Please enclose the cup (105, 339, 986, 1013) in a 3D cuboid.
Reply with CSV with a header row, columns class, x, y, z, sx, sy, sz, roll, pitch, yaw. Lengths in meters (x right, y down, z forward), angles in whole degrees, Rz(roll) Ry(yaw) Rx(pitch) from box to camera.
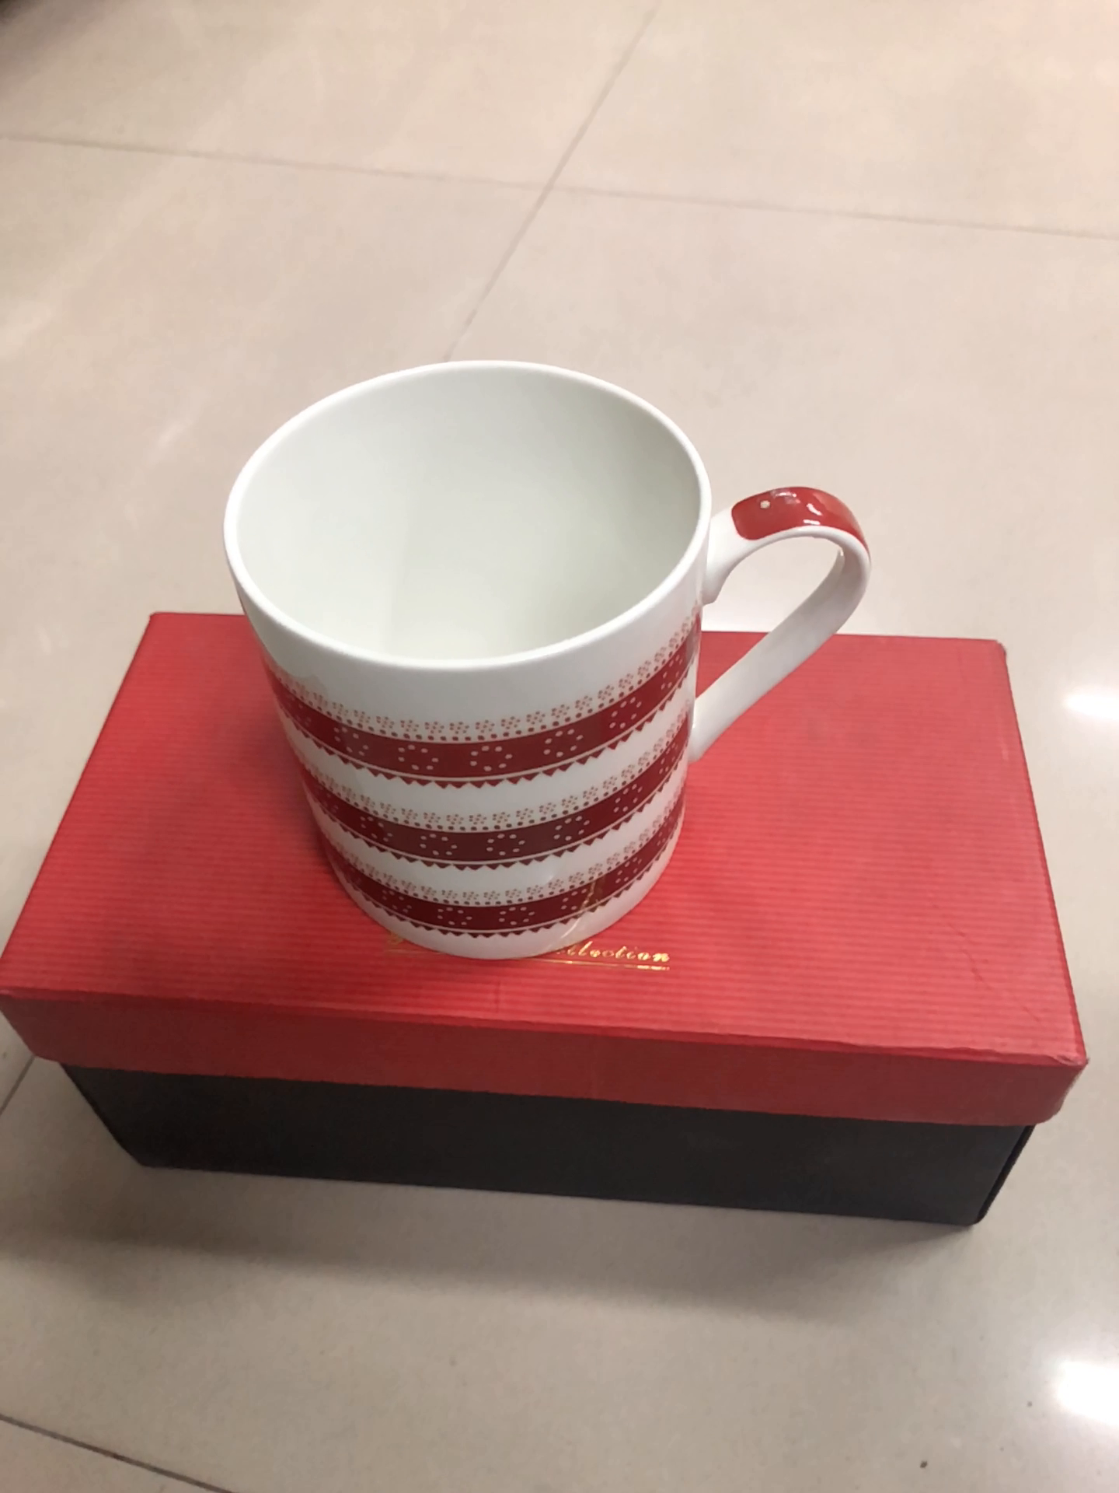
class,x,y,z,sx,sy,sz,roll,pitch,yaw
cup,-0.002,-0.011,0.248,0.130,0.099,0.080,-3,49,1
